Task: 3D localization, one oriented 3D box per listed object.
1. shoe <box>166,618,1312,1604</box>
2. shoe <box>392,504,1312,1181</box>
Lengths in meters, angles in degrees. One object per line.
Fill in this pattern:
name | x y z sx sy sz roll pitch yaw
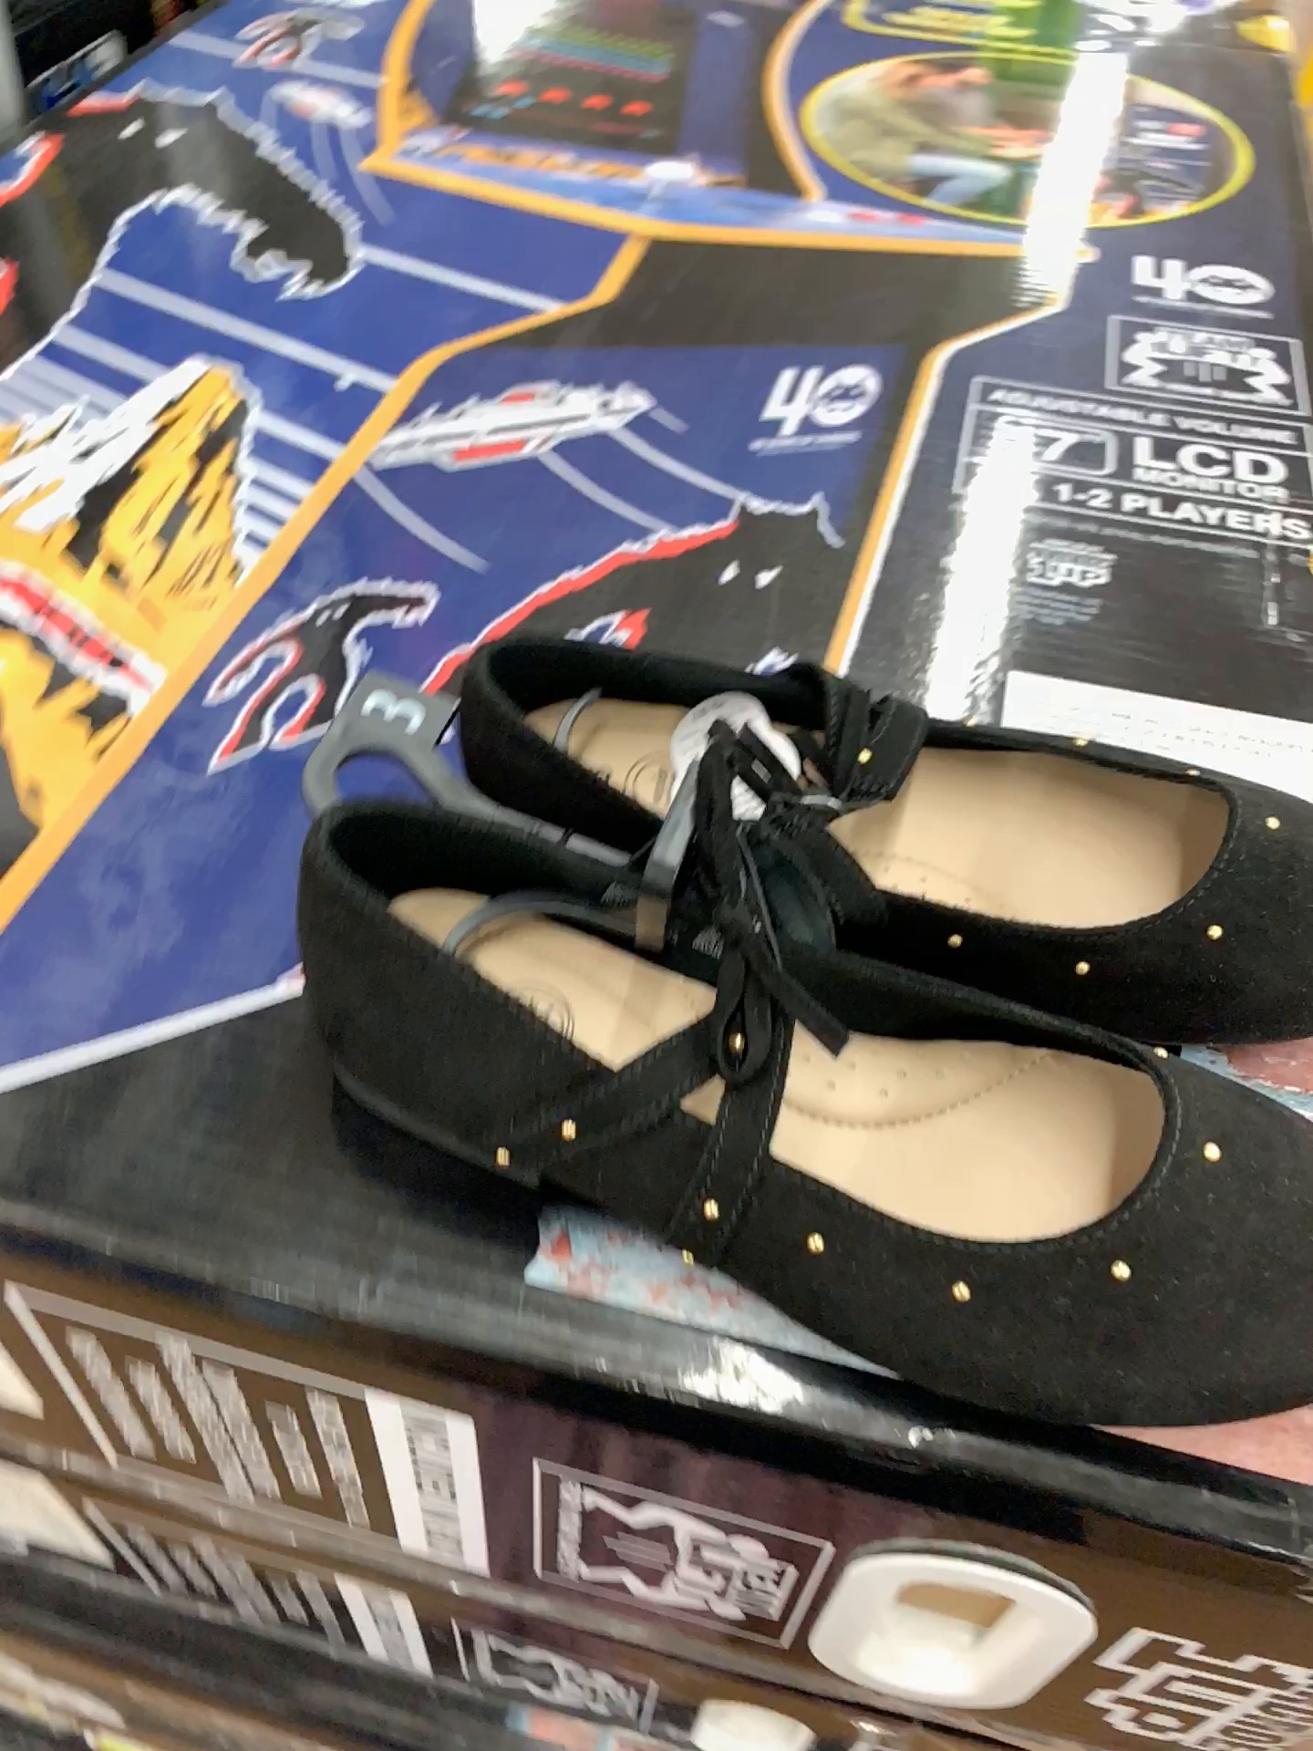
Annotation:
shoe | 0.036 0.039 0.277 0.240 0.070 0.090 21 51 11
shoe | 0.068 -0.013 0.353 0.250 0.070 0.090 16 50 7
